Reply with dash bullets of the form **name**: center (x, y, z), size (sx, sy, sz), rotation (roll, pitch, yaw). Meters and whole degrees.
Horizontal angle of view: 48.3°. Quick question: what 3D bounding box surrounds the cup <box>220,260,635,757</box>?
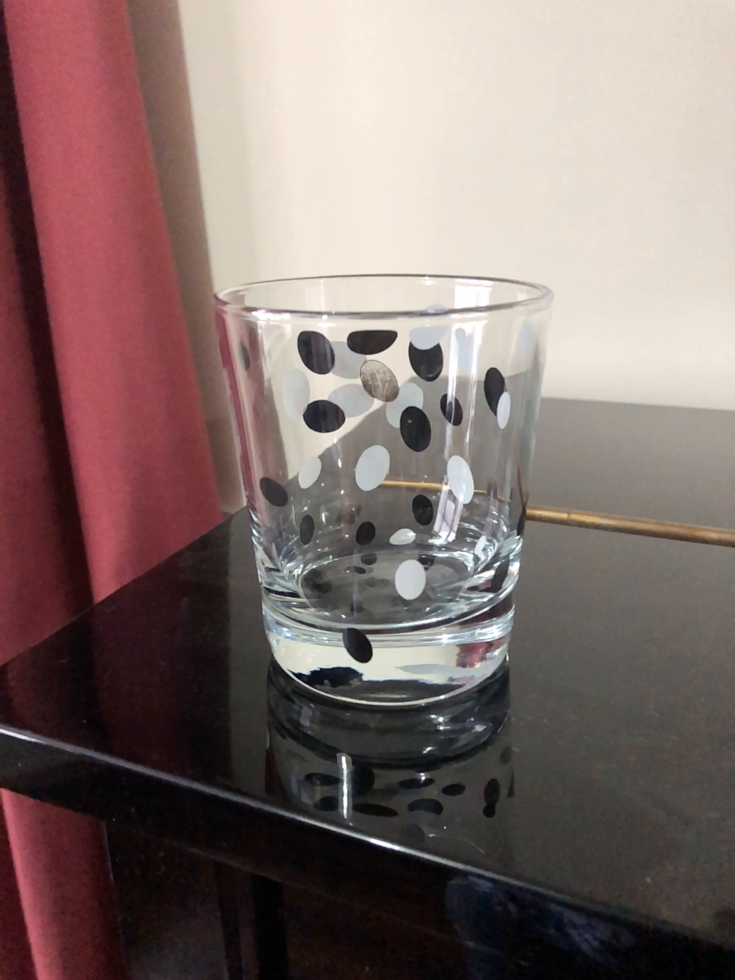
- **cup**: center (0.009, -0.002, 0.204), size (0.080, 0.099, 0.070), rotation (-4, 19, -7)
